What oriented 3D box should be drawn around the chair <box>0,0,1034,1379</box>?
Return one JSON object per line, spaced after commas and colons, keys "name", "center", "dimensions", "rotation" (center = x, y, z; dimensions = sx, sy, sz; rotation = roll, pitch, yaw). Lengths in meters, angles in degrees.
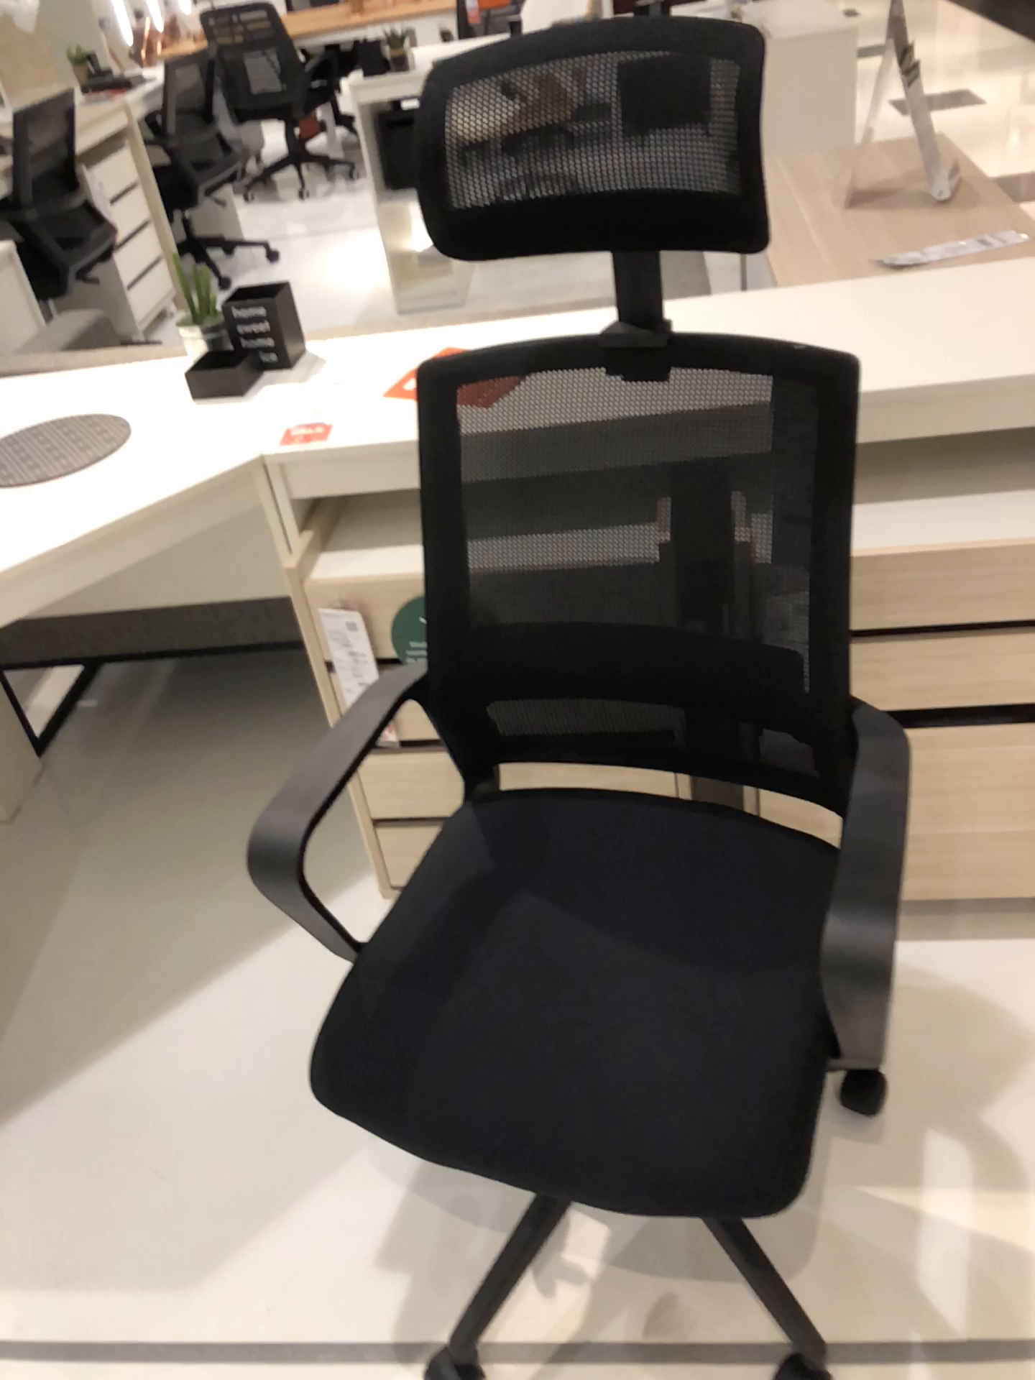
{"name": "chair", "center": [0.046, 0.092, 1.004], "dimensions": [0.660, 1.132, 0.664], "rotation": [4, 38, 20]}
